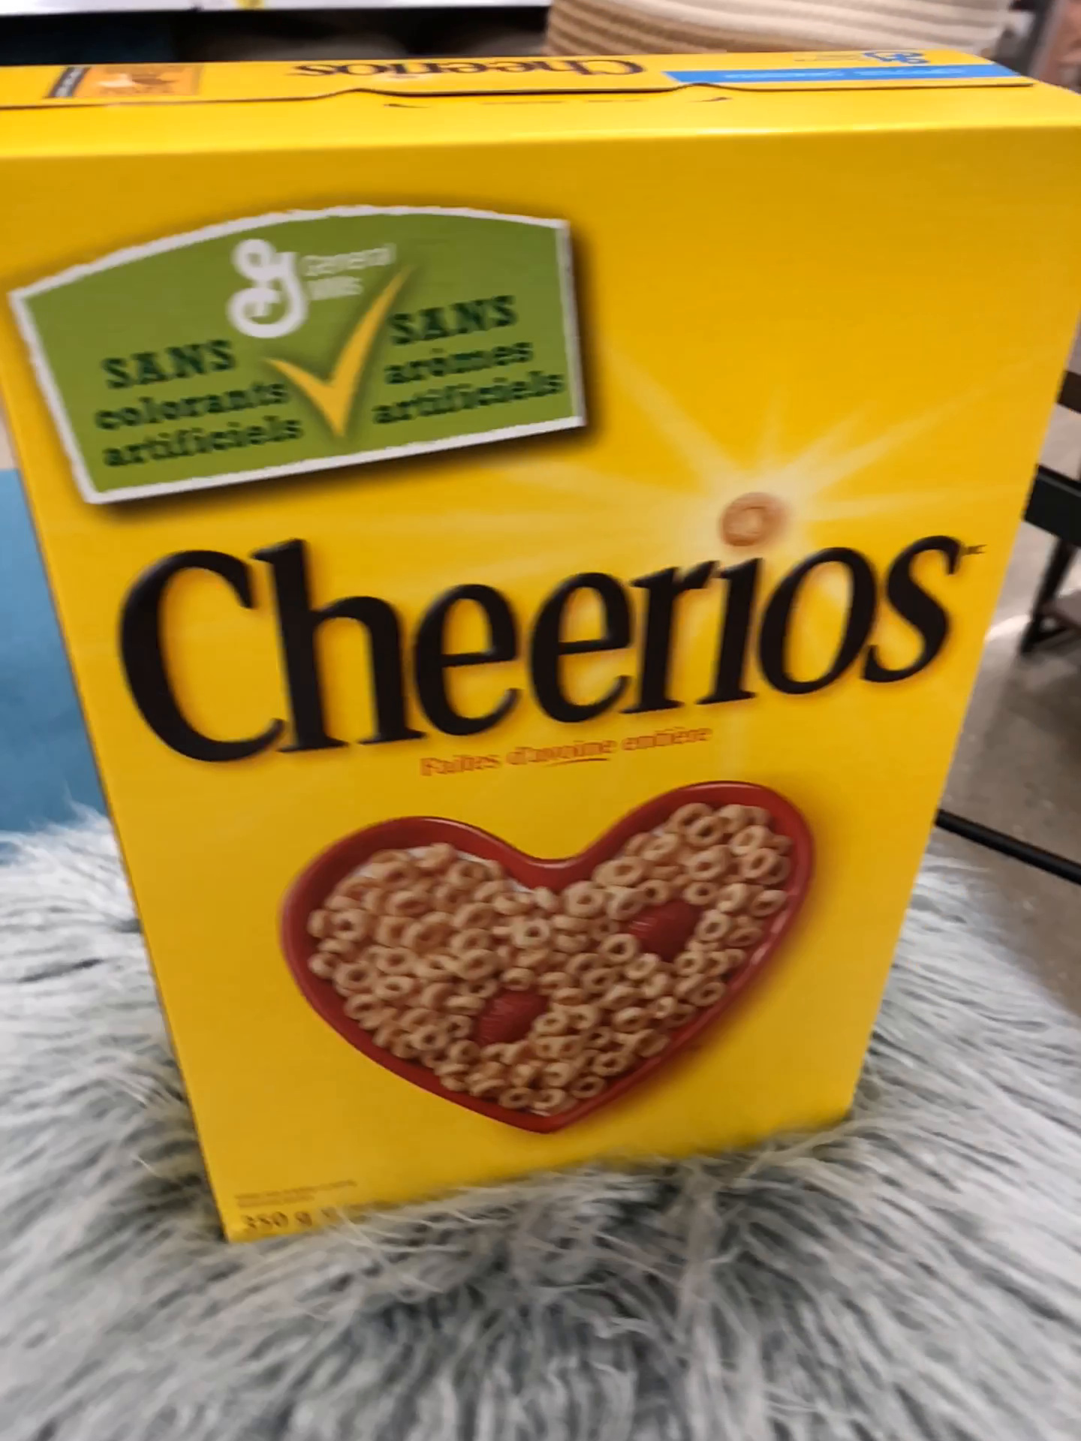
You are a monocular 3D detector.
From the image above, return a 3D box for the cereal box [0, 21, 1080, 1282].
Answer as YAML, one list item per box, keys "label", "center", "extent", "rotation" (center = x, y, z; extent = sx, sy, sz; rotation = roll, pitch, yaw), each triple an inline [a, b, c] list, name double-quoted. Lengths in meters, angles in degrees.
- label: "cereal box"
  center: [-0.011, 0.001, 0.300]
  extent: [0.210, 0.289, 0.080]
  rotation: [-6, 37, -15]
